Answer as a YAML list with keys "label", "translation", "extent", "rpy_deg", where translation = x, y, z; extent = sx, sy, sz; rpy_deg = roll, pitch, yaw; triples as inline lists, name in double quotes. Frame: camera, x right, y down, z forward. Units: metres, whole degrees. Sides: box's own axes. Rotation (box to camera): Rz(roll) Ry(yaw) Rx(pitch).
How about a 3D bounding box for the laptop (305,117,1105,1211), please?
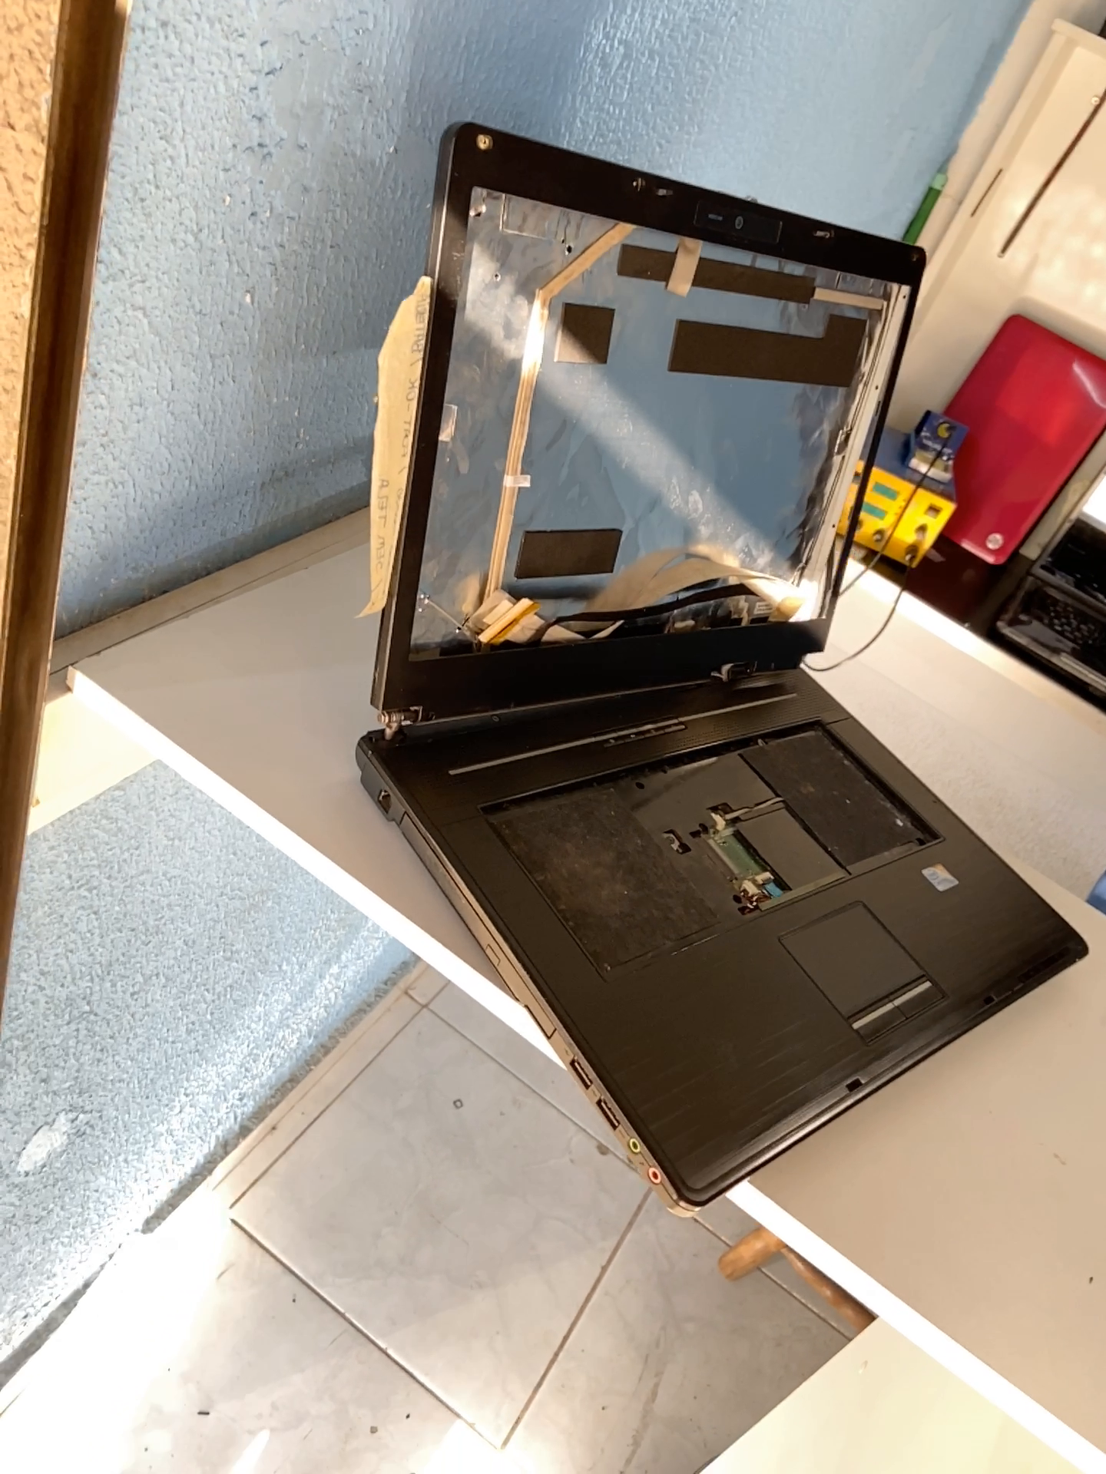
- label: "laptop"
  translation: [0.137, -0.063, 0.564]
  extent: [0.354, 0.261, 0.350]
  rpy_deg: [-11, 49, -40]
